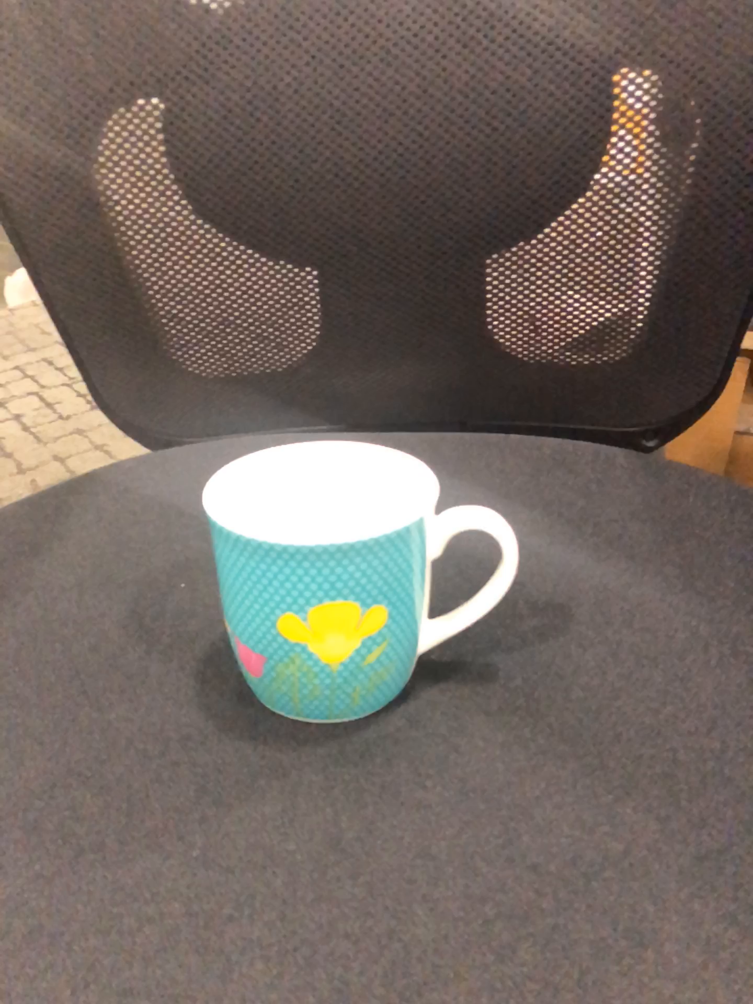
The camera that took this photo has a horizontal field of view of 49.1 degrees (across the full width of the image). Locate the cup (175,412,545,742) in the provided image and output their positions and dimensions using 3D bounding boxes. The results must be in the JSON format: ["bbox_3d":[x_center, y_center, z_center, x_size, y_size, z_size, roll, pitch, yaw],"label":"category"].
[{"bbox_3d":[-0.008,0.024,0.294,0.110,0.080,0.070,-6,31,-7],"label":"cup"}]
